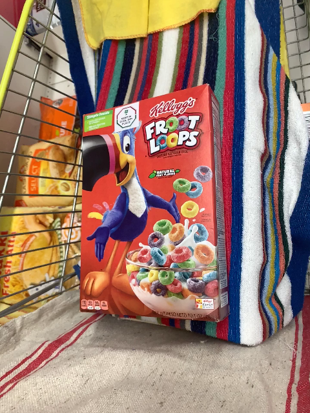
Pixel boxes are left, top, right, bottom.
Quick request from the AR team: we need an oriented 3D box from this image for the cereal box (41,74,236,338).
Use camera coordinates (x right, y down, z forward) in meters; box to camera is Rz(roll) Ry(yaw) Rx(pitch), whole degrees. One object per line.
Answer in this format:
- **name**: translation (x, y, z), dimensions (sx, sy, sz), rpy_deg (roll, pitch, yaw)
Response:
- **cereal box**: translation (-0.025, 0.004, 0.371), dimensions (0.211, 0.060, 0.250), rpy_deg (-5, 79, 26)
